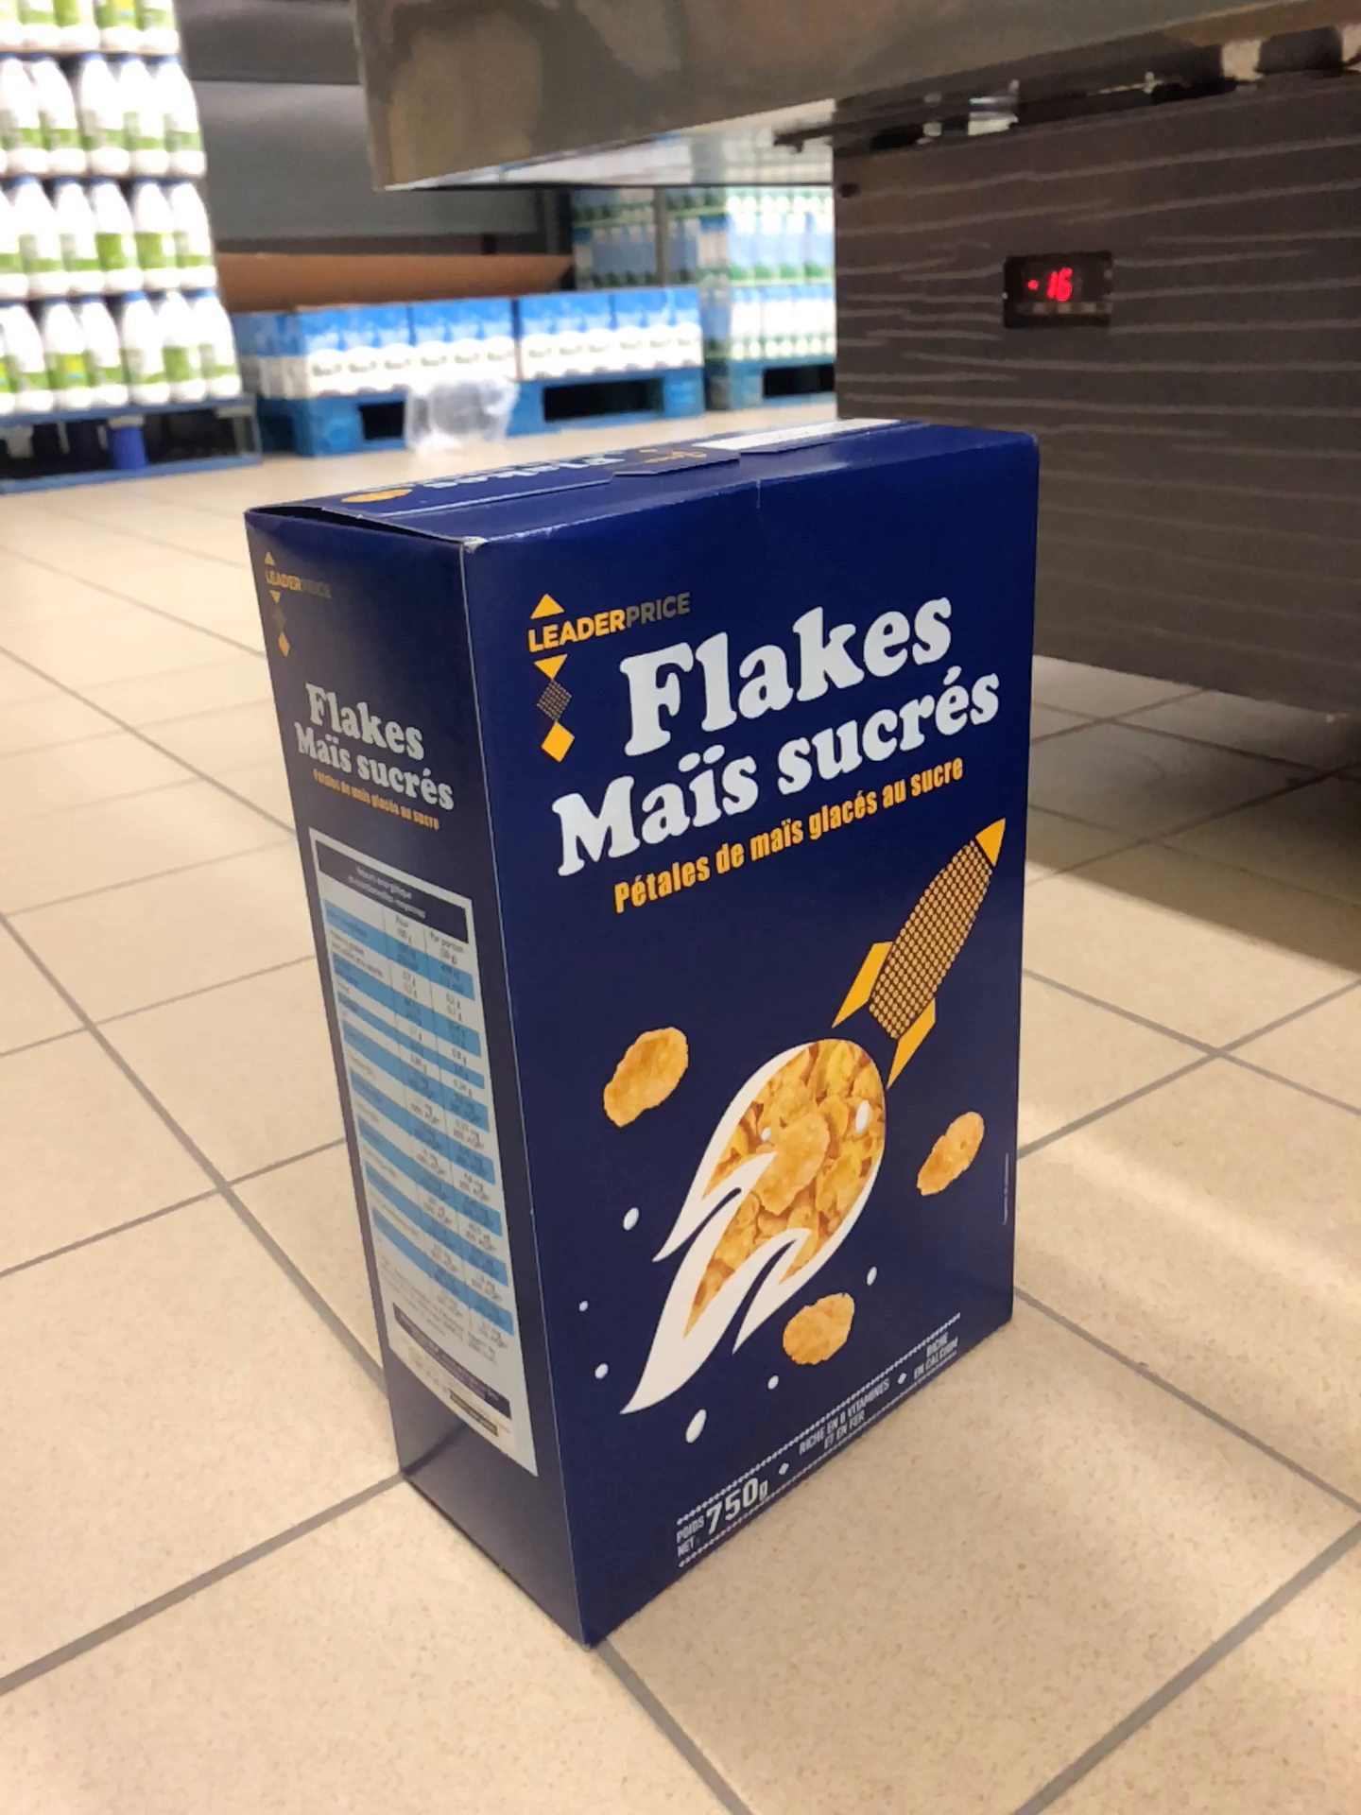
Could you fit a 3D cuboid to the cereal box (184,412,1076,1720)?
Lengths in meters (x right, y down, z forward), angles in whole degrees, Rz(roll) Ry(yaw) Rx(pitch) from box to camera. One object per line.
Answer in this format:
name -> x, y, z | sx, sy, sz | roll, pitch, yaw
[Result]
cereal box -> 0.003, 0.027, 0.436 | 0.211, 0.309, 0.100 | -20, 26, -36
